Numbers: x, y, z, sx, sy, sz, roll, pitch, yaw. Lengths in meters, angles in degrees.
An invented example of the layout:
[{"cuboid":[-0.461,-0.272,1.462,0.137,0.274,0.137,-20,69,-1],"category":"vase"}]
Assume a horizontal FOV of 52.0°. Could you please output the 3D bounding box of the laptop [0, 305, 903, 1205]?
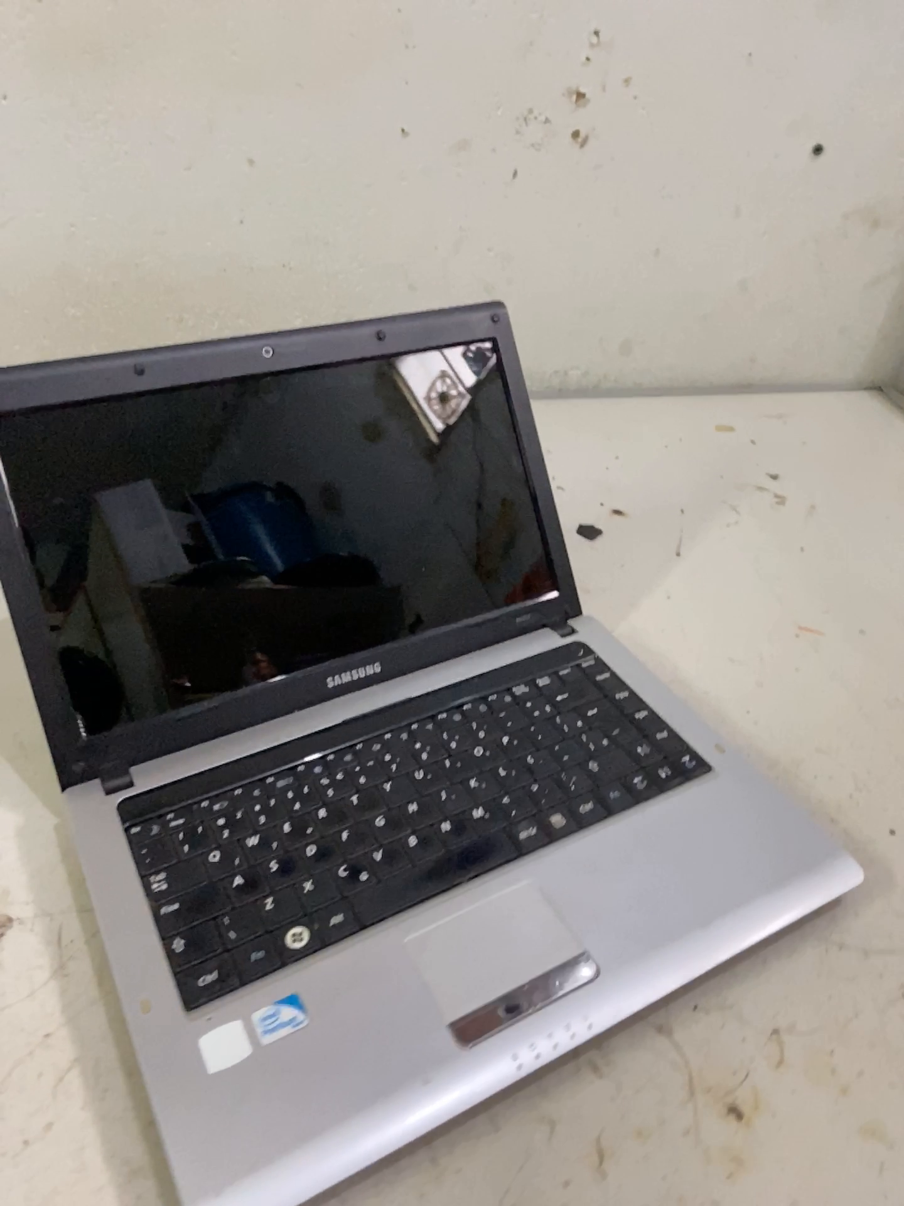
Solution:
[{"cuboid":[-0.011,0.011,0.463,0.335,0.172,0.363,-16,40,-25],"category":"laptop"}]
